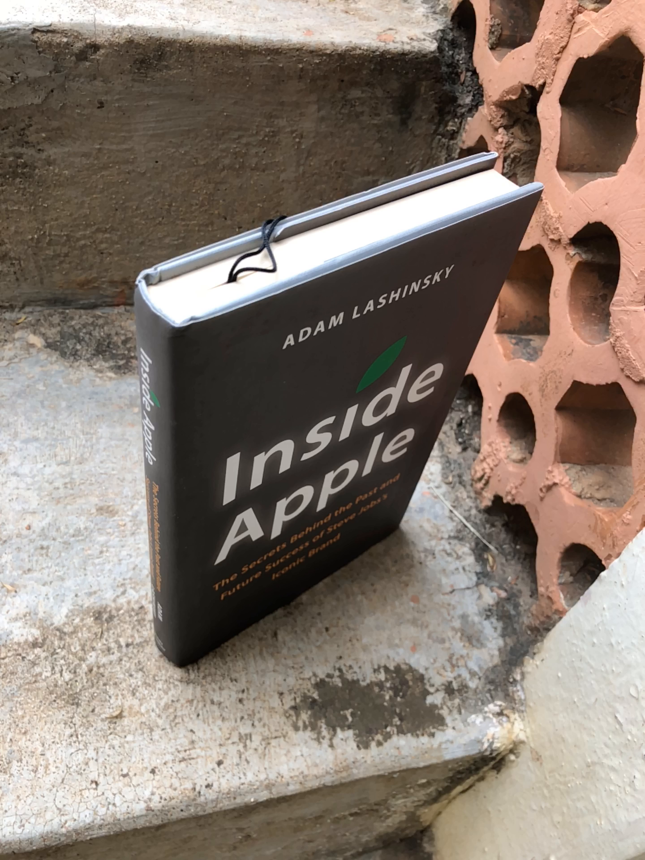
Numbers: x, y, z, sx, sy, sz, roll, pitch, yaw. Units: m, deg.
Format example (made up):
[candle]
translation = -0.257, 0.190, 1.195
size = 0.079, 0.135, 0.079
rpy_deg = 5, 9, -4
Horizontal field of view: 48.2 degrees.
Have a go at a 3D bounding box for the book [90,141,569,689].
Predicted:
[book]
translation = -0.002, 0.004, 0.314
size = 0.170, 0.219, 0.040
rpy_deg = -27, 59, -30
